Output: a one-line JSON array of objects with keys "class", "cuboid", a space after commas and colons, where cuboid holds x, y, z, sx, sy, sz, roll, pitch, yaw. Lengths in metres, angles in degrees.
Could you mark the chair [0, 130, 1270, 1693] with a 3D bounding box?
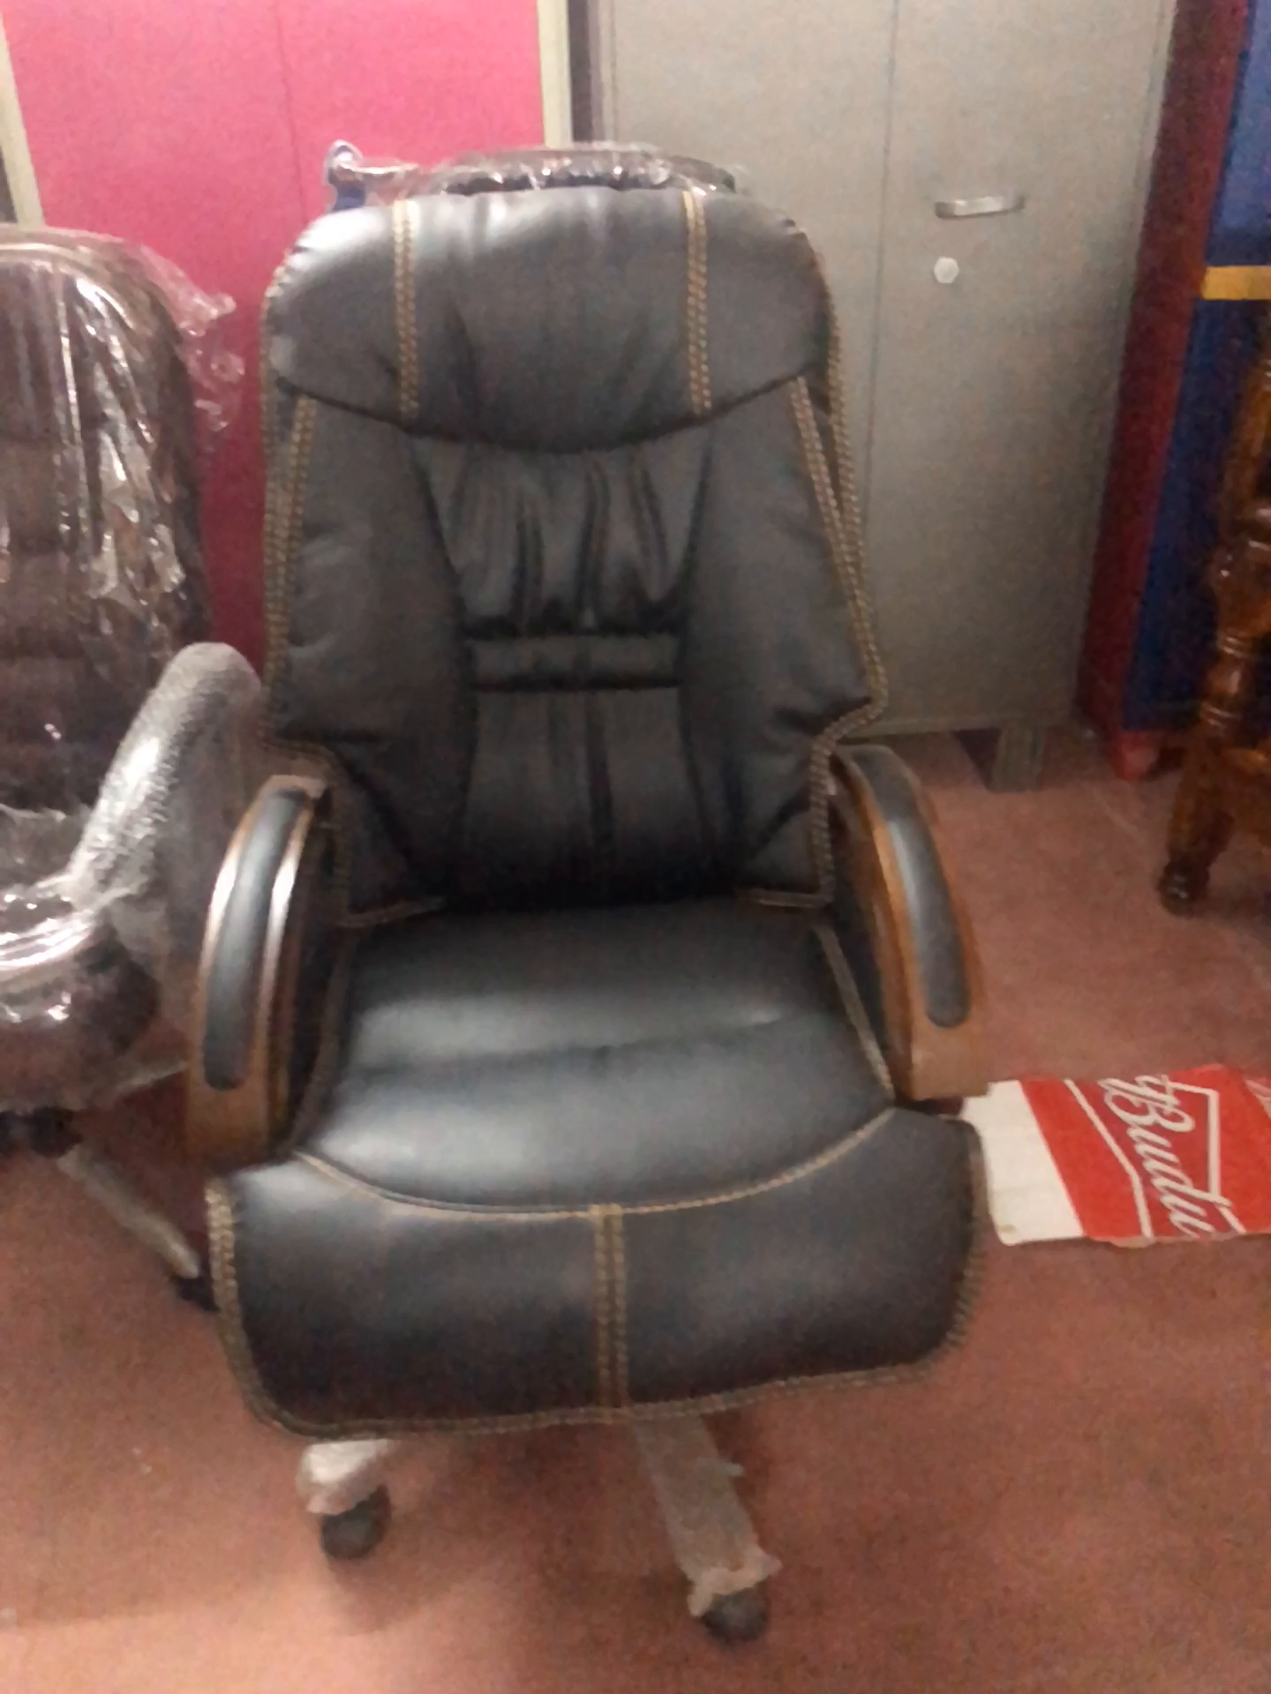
[{"class": "chair", "cuboid": [-0.080, 0.005, 1.155, 0.700, 0.995, 0.794, -3, 31, -3]}]
